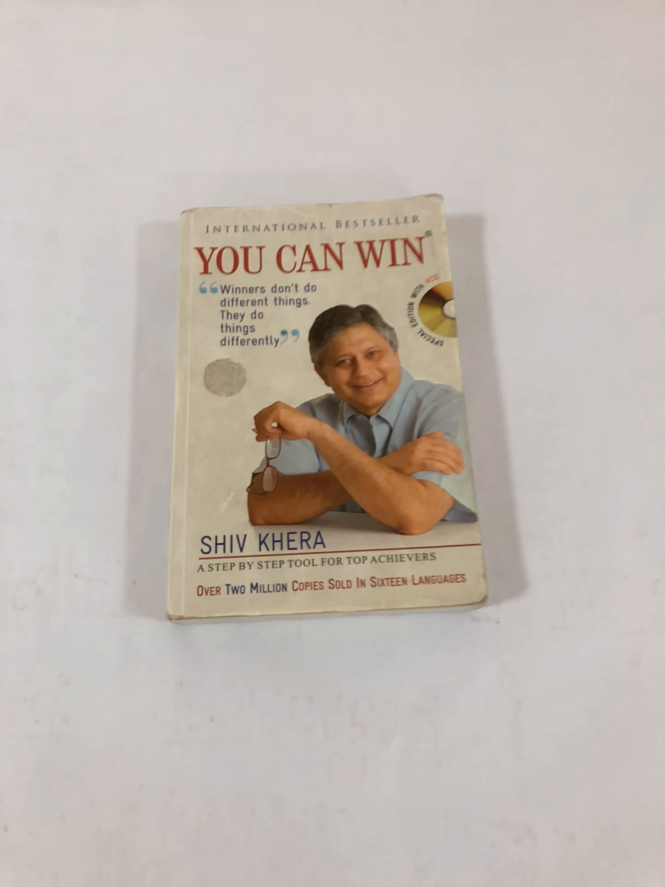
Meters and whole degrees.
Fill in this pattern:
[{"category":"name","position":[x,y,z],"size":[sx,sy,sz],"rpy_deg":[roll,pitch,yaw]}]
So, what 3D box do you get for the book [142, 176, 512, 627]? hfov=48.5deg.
[{"category":"book","position":[-0.007,-0.025,0.353],"size":[0.150,0.040,0.210],"rpy_deg":[-2,71,-1]}]
